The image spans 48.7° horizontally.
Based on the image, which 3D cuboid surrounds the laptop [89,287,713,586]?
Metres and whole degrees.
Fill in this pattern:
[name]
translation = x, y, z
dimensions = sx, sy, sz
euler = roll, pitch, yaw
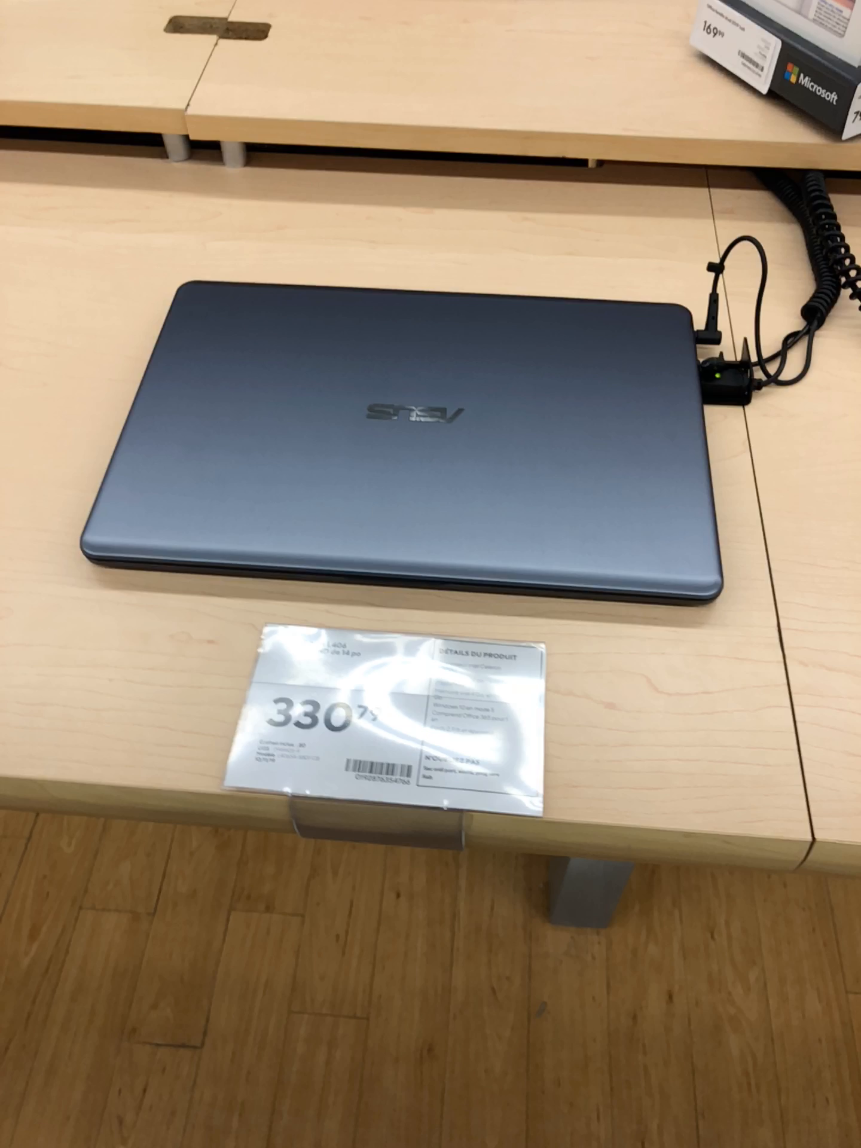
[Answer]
[laptop]
translation = -0.010, -0.090, 0.544
dimensions = 0.318, 0.001, 0.211
euler = 4, 54, 3
